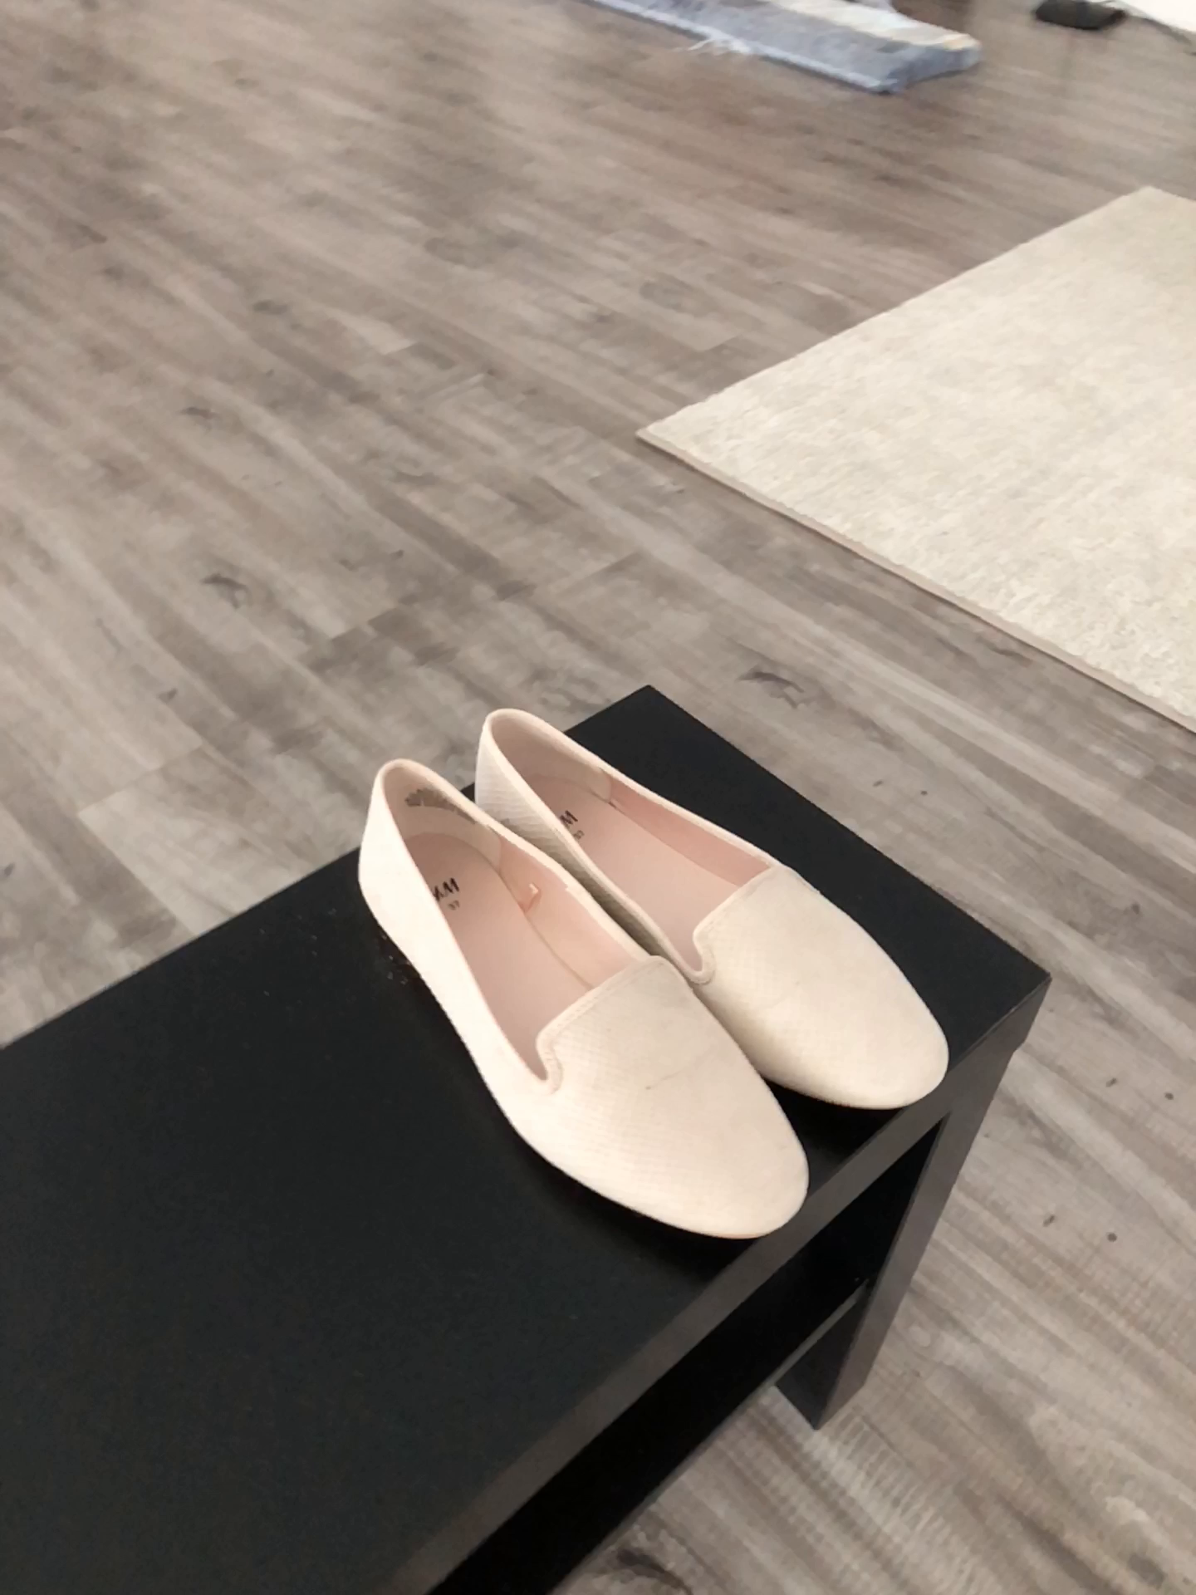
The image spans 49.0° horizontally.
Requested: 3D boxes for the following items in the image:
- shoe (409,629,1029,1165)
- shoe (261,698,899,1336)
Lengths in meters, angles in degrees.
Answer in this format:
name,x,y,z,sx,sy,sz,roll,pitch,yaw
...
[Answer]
name,x,y,z,sx,sy,sz,roll,pitch,yaw
shoe,0.038,0.030,0.555,0.260,0.070,0.080,34,52,29
shoe,-0.019,0.070,0.516,0.090,0.070,0.260,-31,53,-30
